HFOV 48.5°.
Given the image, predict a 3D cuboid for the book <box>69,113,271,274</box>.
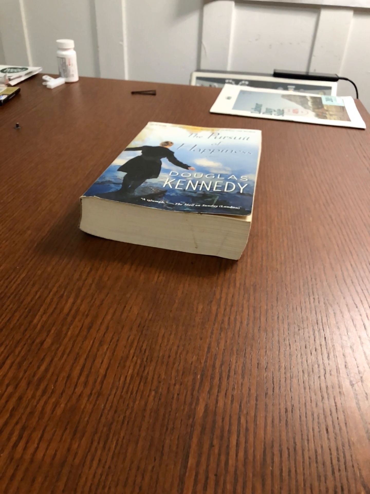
[{"bbox_3d":[0.005,-0.075,0.436,0.160,0.050,0.241,8,34,7],"label":"book"}]
